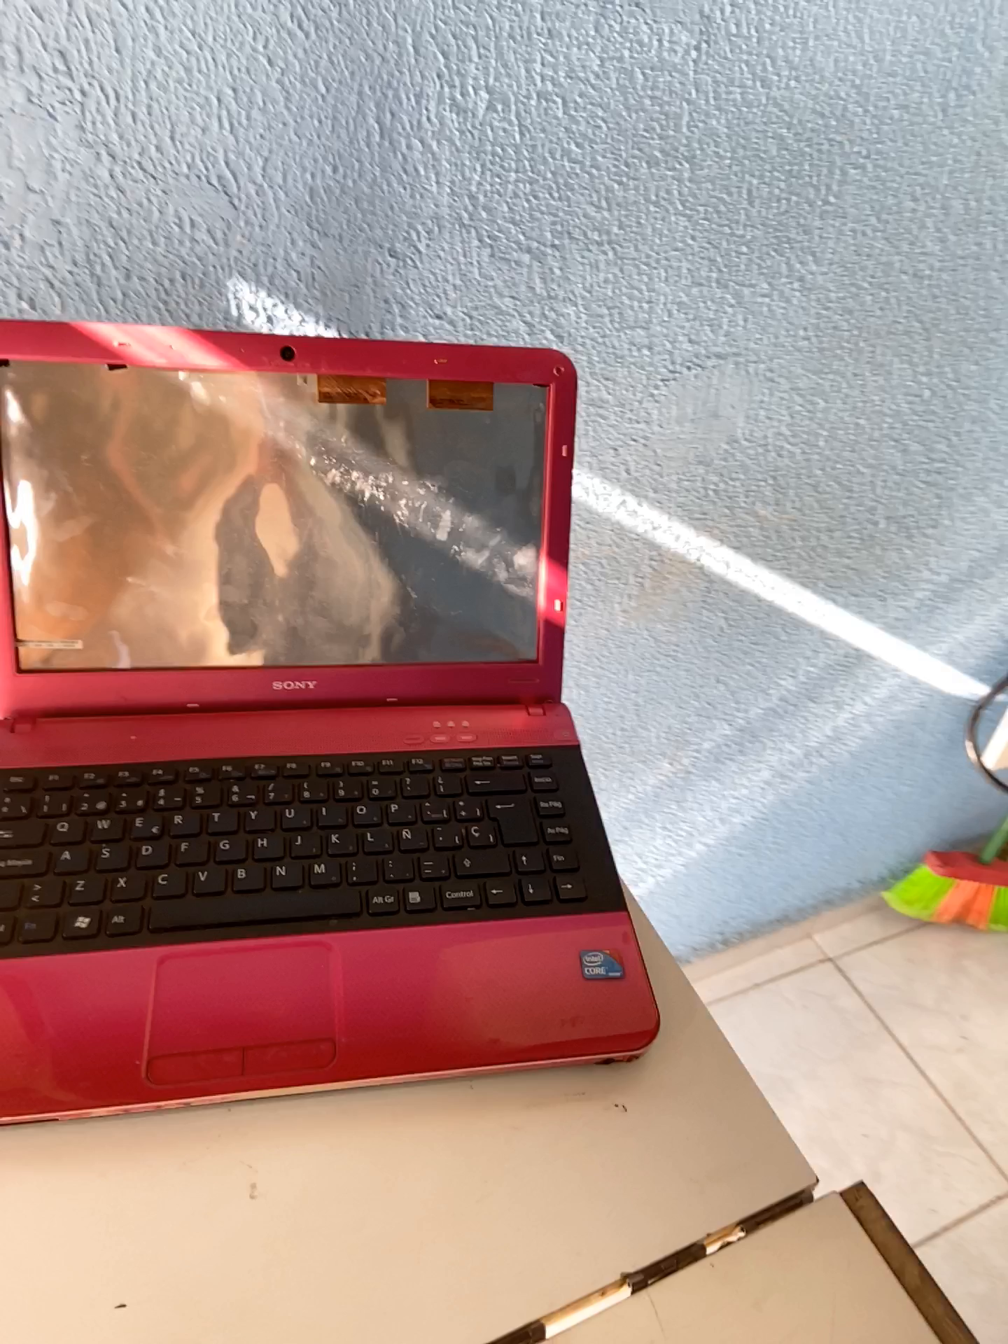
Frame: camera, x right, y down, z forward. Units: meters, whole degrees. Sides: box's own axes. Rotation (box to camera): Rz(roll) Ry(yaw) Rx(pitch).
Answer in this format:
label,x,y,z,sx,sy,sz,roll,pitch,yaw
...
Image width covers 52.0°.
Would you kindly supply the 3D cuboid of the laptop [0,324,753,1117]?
label,x,y,z,sx,sy,sz,roll,pitch,yaw
laptop,-0.108,-0.006,0.524,0.331,0.187,0.341,-1,40,-11
